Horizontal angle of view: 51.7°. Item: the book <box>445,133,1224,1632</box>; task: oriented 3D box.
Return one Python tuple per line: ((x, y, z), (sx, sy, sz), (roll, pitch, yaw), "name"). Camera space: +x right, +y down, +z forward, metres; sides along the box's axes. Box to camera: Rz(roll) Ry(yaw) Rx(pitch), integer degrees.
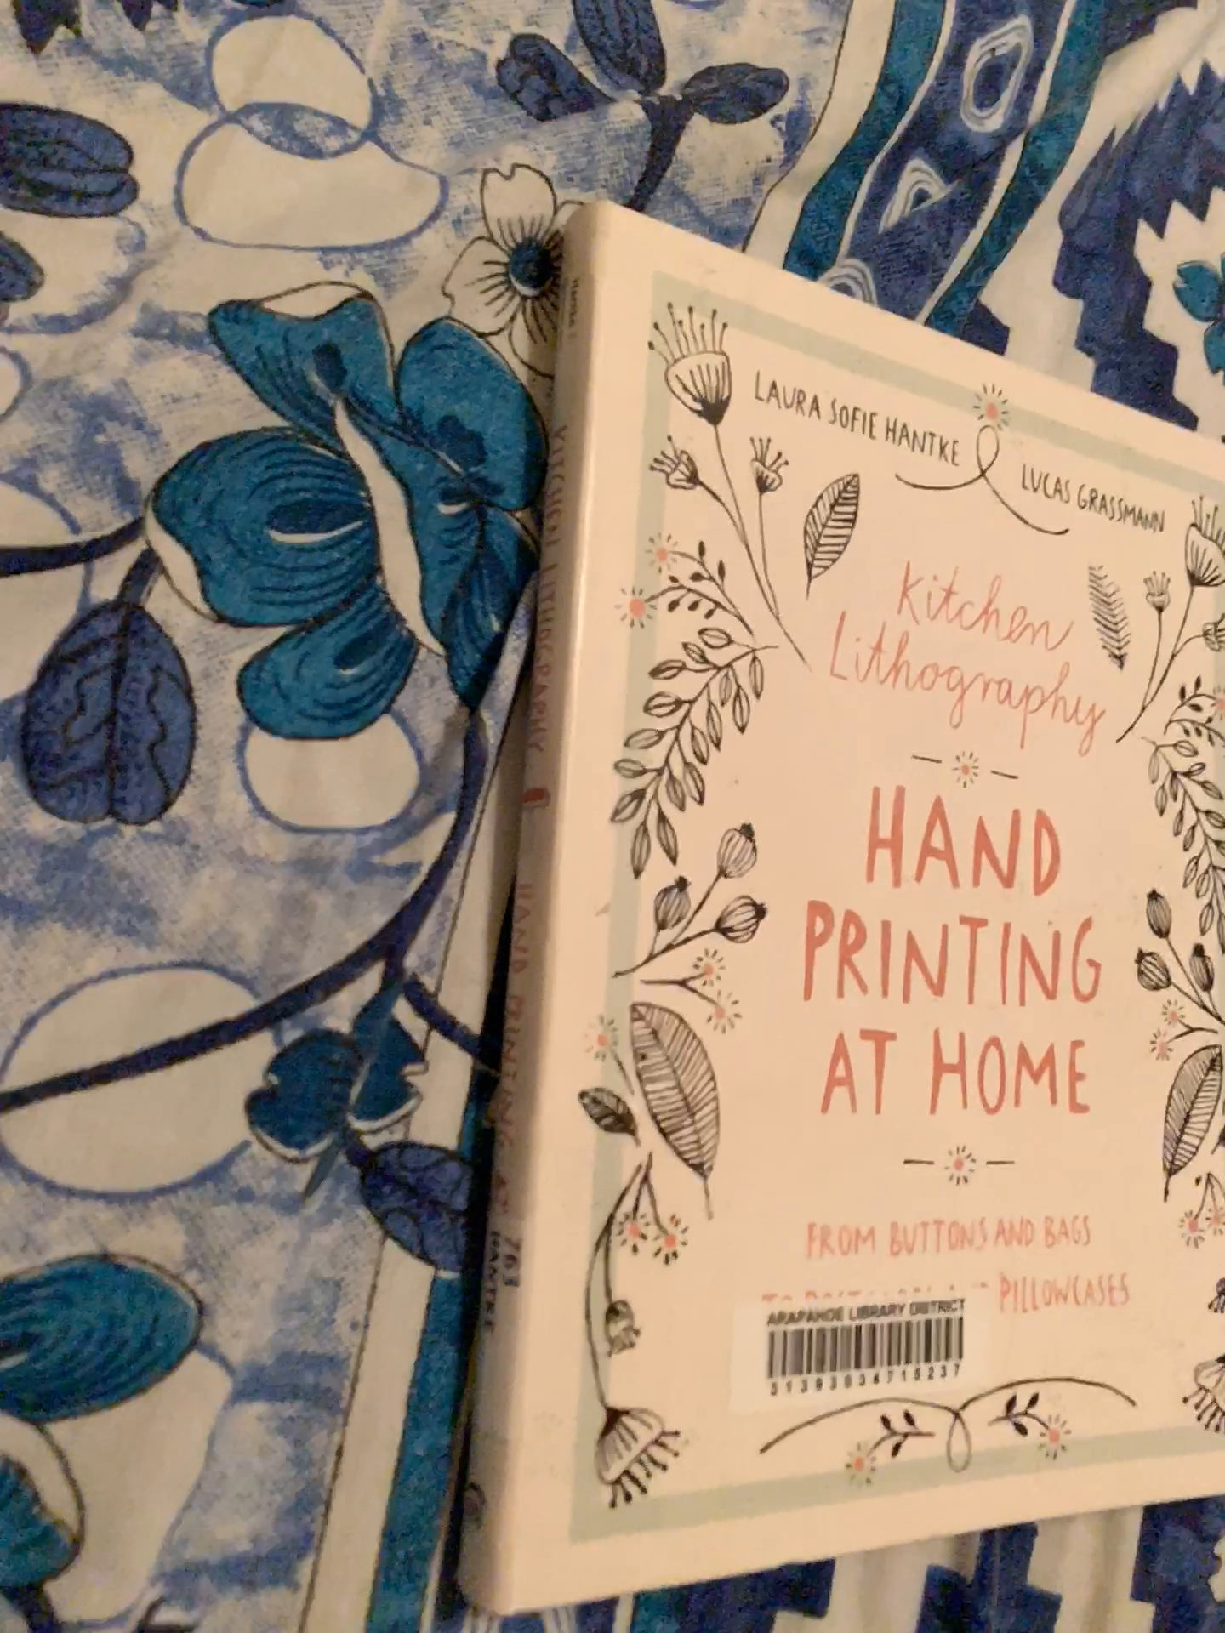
((0.062, 0.011, 0.232), (0.171, 0.020, 0.220), (8, 79, -27), "book")
